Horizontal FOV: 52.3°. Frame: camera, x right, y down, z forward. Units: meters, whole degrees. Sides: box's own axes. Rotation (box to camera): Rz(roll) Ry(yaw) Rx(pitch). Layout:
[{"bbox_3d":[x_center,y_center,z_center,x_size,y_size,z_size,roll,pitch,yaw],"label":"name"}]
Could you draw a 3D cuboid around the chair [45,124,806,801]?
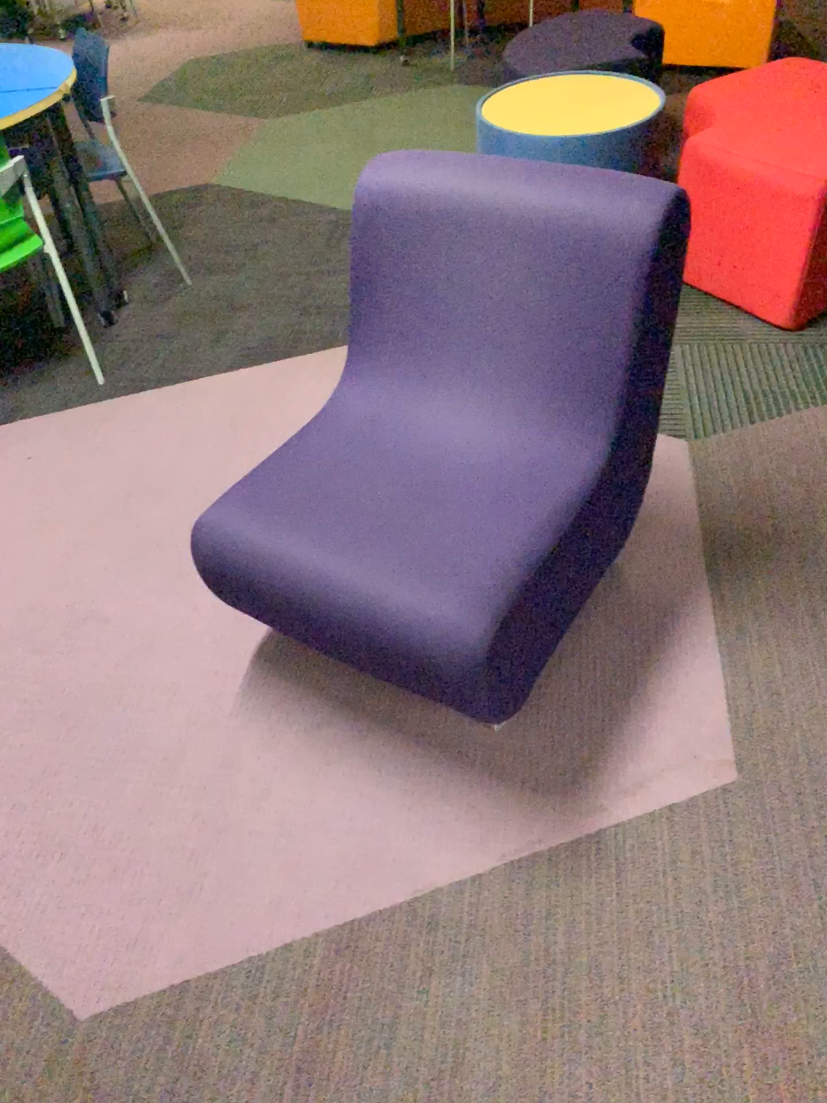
[{"bbox_3d":[0.075,-0.240,1.431,0.802,0.614,0.826,20,48,27],"label":"chair"}]
